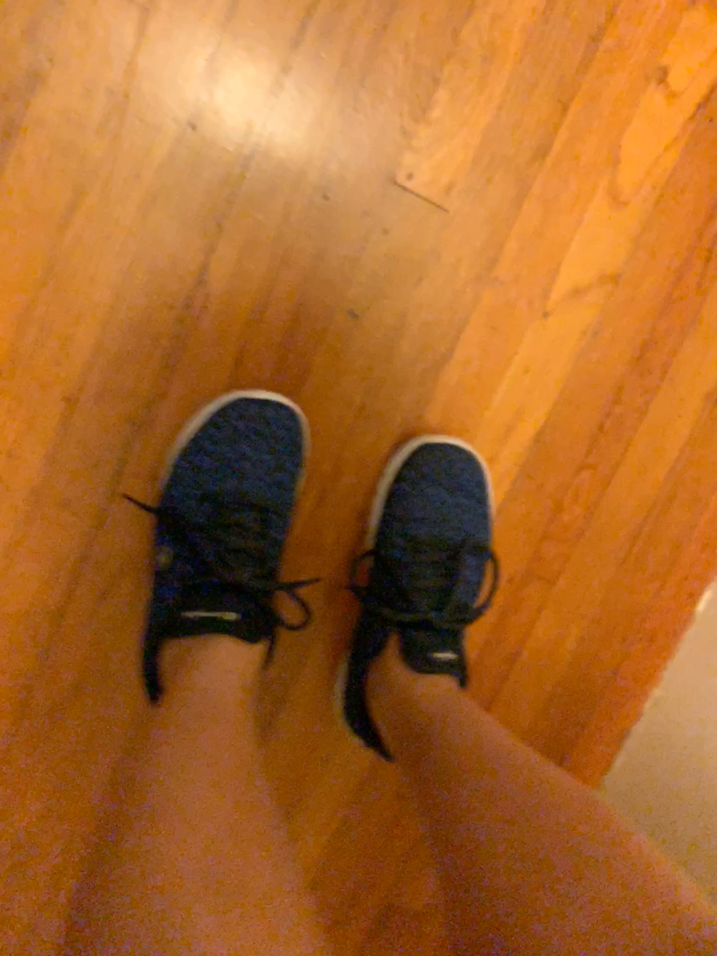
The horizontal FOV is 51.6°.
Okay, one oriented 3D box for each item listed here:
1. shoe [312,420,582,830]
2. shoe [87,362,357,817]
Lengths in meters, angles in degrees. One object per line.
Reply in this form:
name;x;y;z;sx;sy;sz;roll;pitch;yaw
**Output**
shoe;0.057;0.111;0.591;0.117;0.130;0.280;10;102;-13
shoe;-0.106;0.075;0.560;0.115;0.150;0.290;12;101;-13
